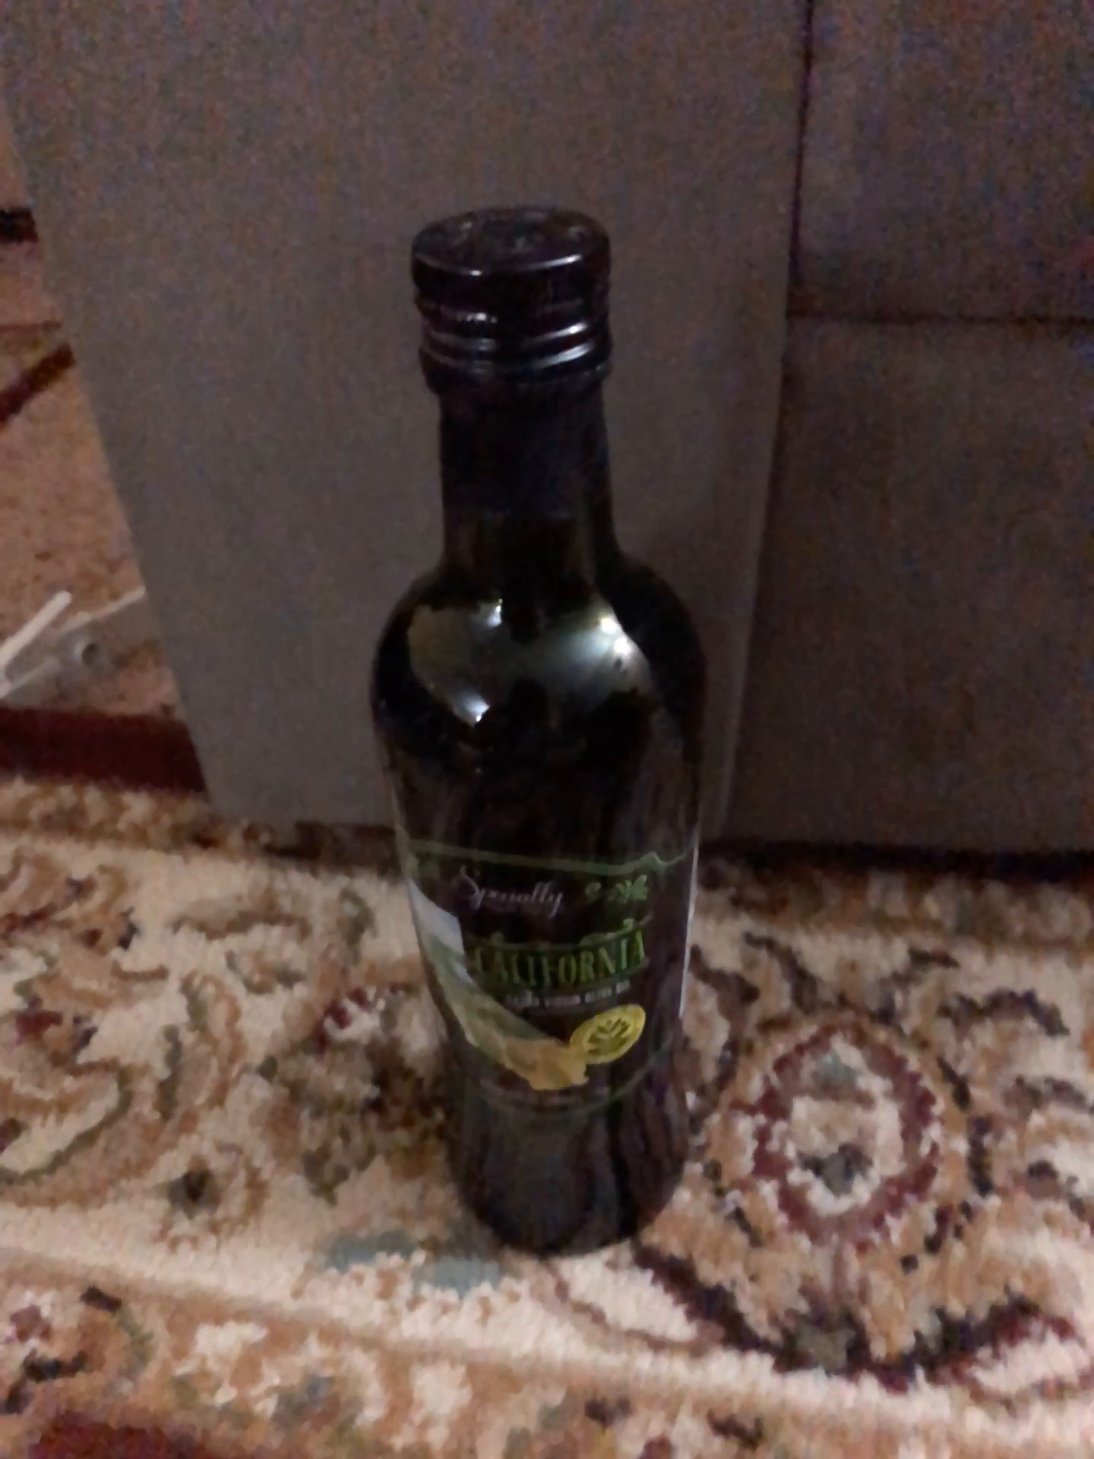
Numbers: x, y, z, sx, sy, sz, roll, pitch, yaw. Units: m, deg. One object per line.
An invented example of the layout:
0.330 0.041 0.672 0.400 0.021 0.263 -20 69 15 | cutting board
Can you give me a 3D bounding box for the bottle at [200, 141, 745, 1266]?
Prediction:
0.002 0.015 0.282 0.080 0.259 0.070 2 36 10 | bottle
